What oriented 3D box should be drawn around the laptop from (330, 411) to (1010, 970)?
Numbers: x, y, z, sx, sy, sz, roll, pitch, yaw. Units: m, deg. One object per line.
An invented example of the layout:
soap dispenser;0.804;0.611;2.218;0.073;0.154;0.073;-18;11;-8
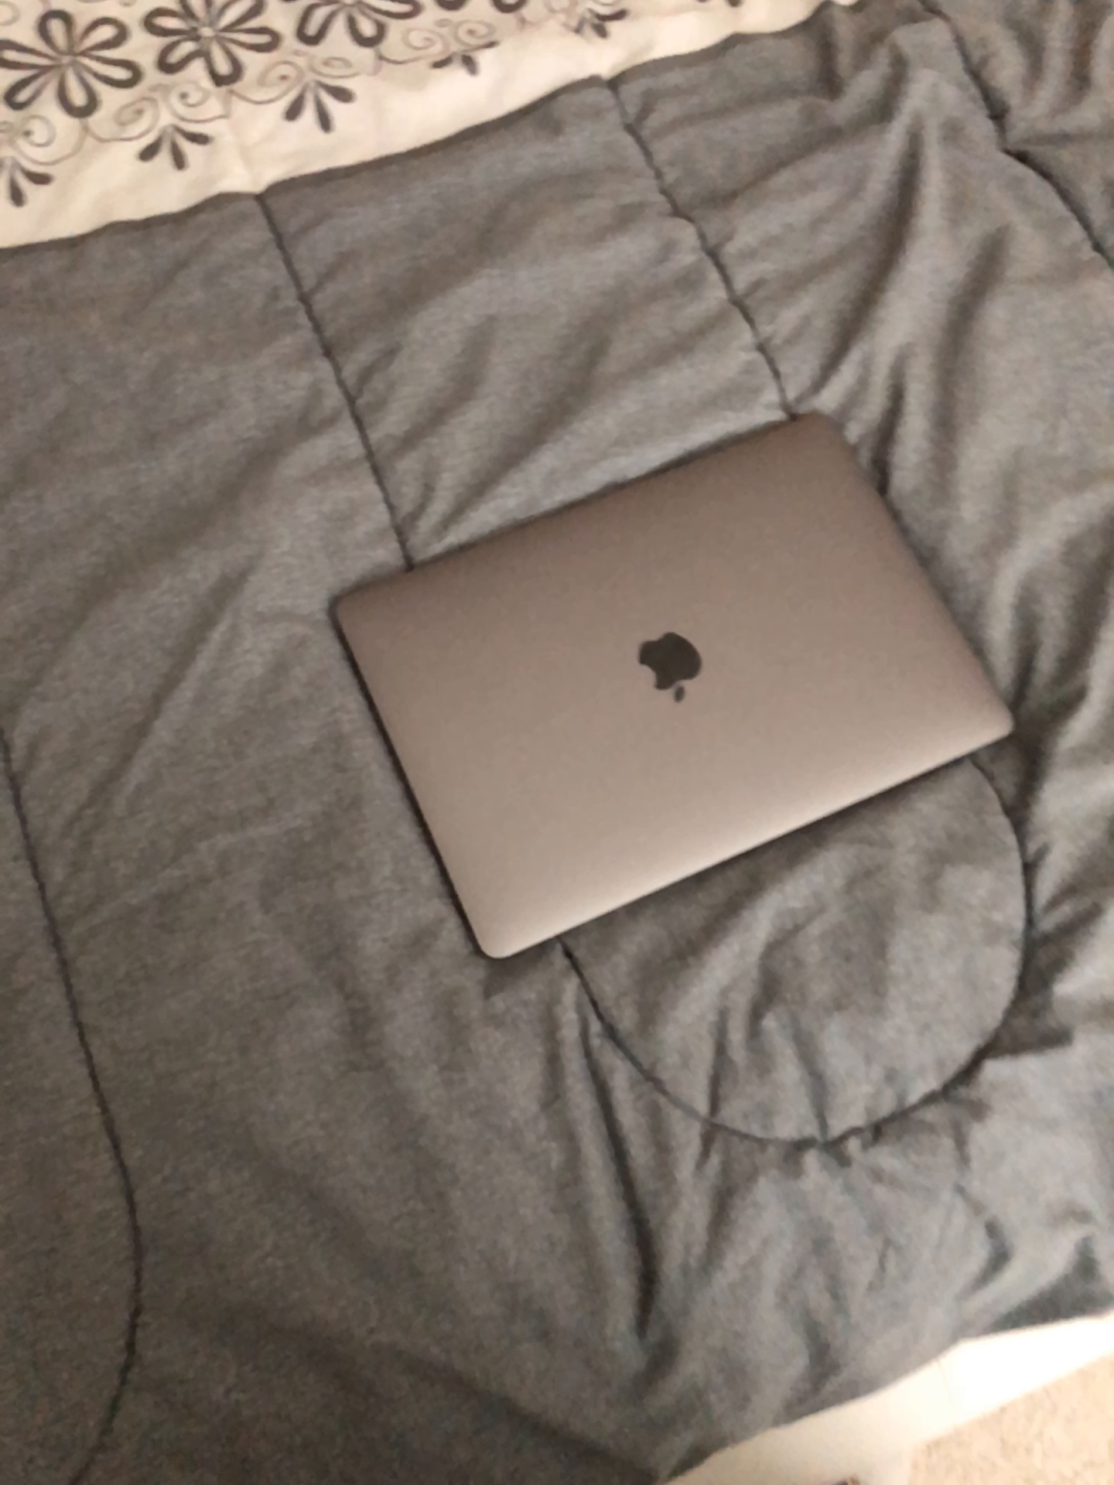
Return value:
laptop;0.058;-0.038;0.639;0.295;0.008;0.207;-23;75;-10
